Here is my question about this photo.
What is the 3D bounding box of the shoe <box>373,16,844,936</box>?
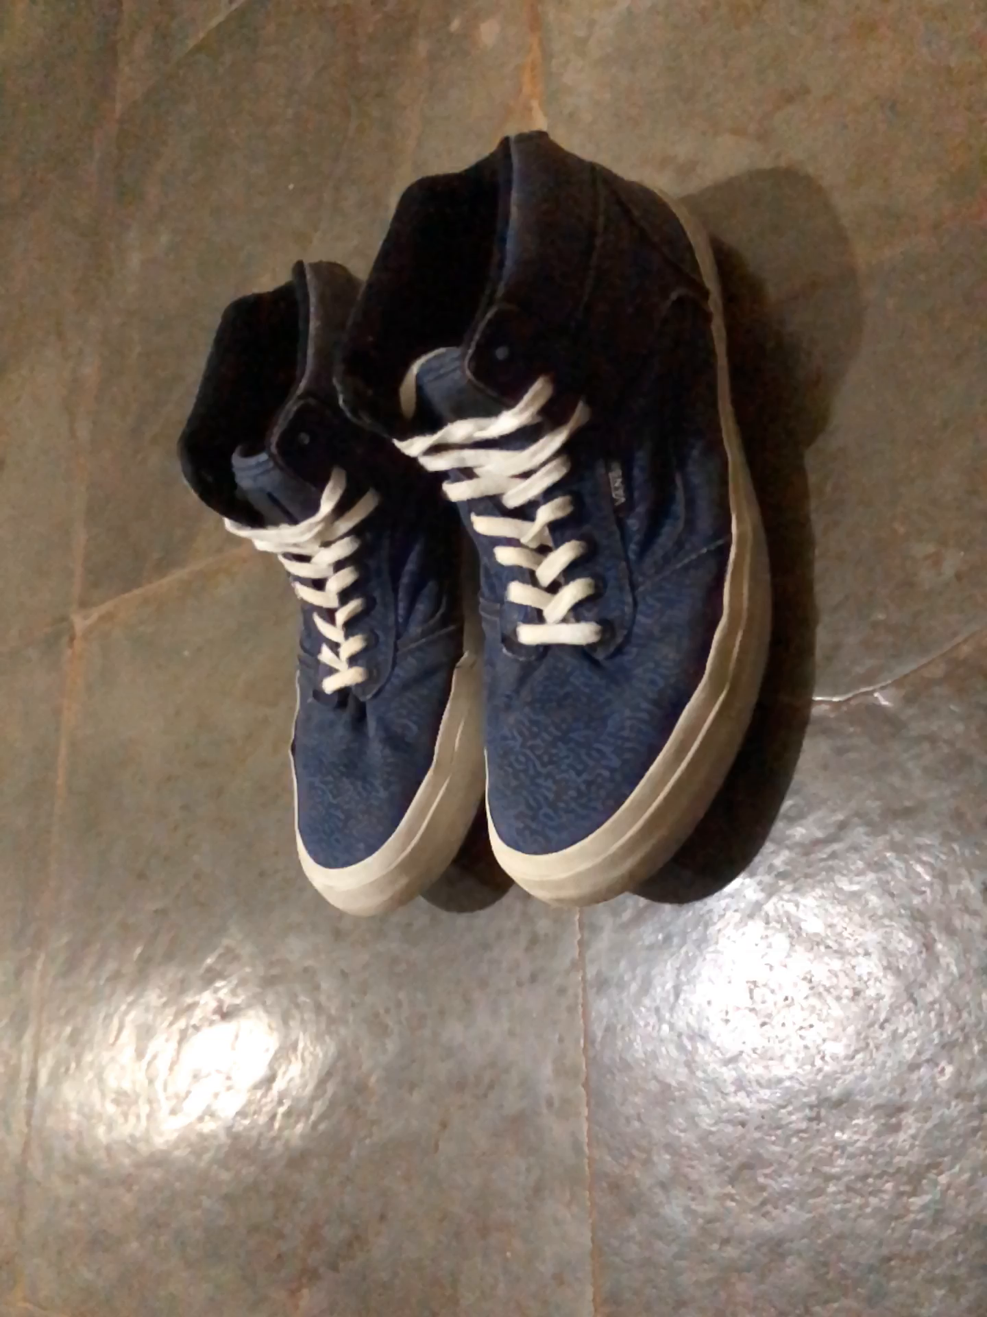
[{"bbox_3d":[0.040,-0.050,0.382,0.120,0.090,0.280,-10,72,40],"label":"shoe"}]

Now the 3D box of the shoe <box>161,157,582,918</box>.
[{"bbox_3d":[-0.048,-0.037,0.461,0.120,0.109,0.280,-13,70,39],"label":"shoe"}]
